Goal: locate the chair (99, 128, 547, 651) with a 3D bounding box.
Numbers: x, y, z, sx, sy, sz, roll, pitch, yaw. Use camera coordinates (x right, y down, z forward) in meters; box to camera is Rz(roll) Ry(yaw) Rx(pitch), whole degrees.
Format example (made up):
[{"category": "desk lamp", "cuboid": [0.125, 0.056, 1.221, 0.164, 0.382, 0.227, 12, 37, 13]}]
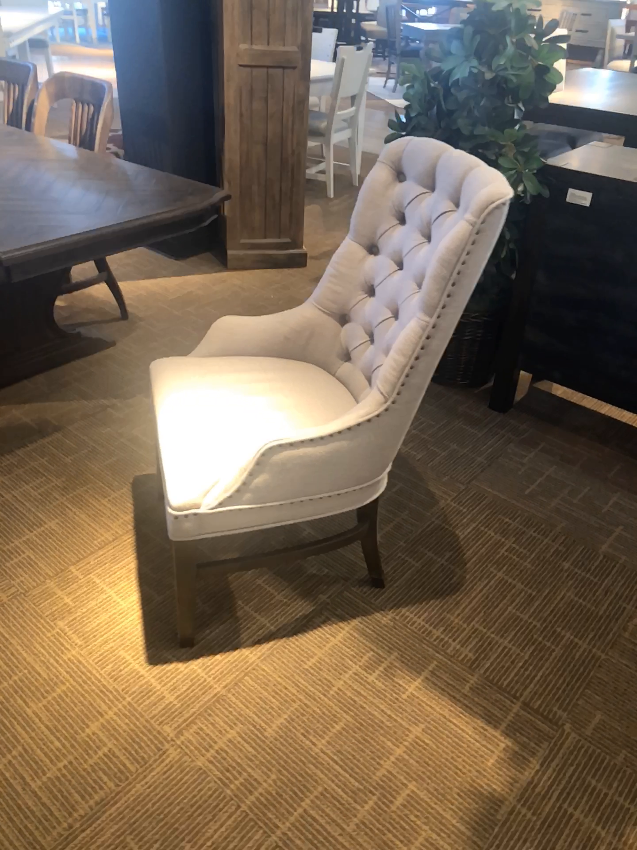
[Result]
[{"category": "chair", "cuboid": [-0.061, -0.111, 1.683, 0.760, 1.014, 0.643, -5, 34, -12]}]
